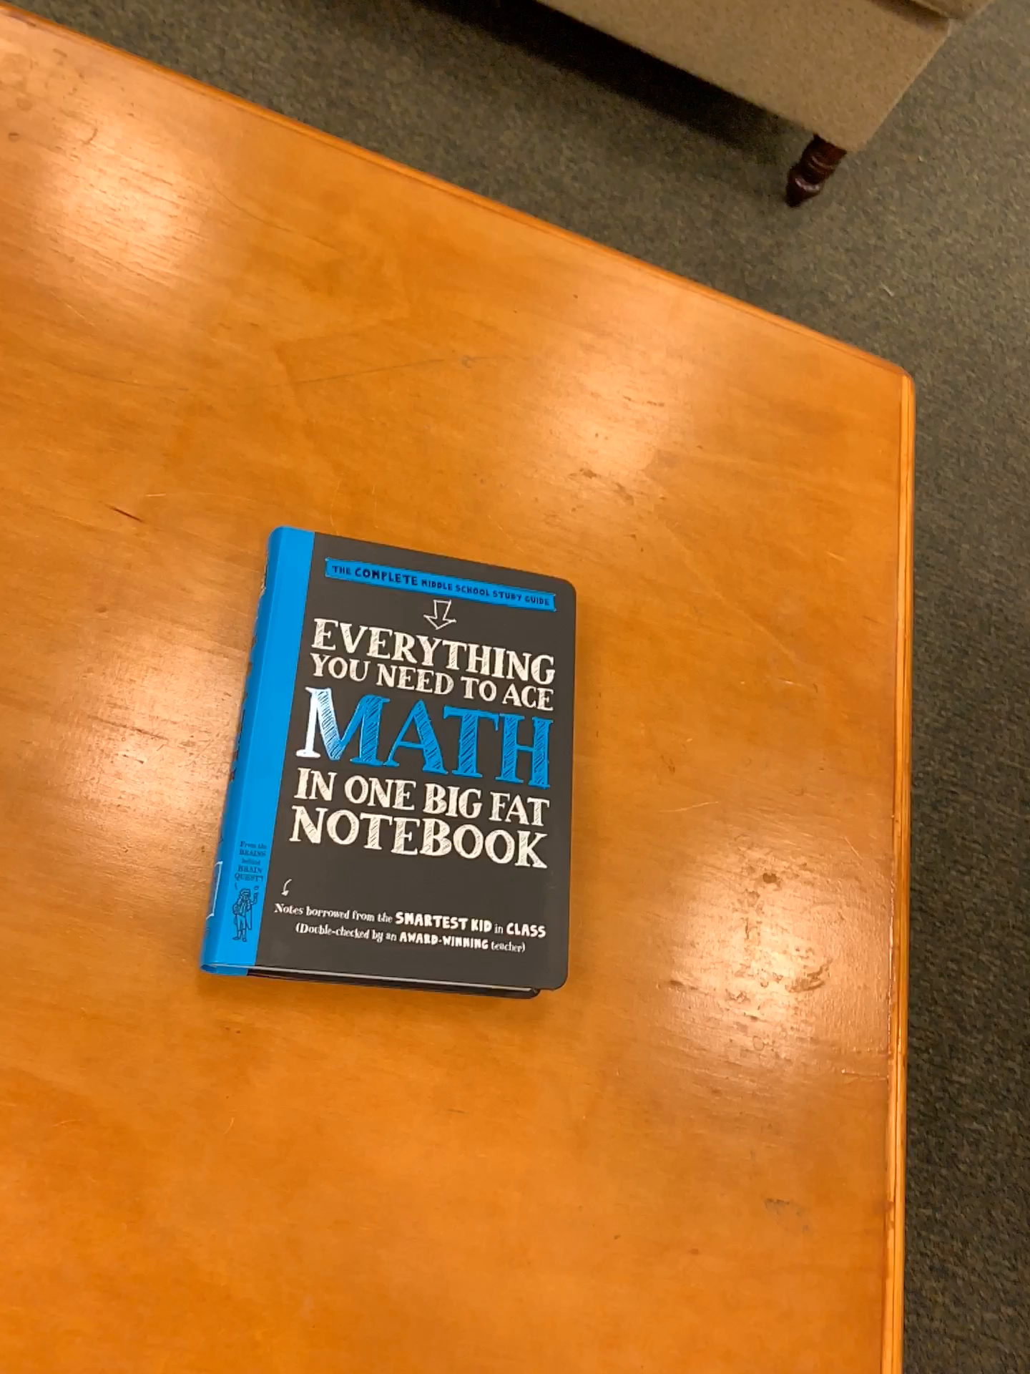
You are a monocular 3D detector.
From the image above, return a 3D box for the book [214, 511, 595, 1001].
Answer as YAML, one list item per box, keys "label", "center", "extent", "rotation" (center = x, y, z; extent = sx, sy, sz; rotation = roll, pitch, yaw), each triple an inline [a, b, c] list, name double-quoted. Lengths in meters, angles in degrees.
- label: "book"
  center: [-0.046, 0.035, 0.501]
  extent: [0.157, 0.050, 0.208]
  rotation: [9, 70, -18]
